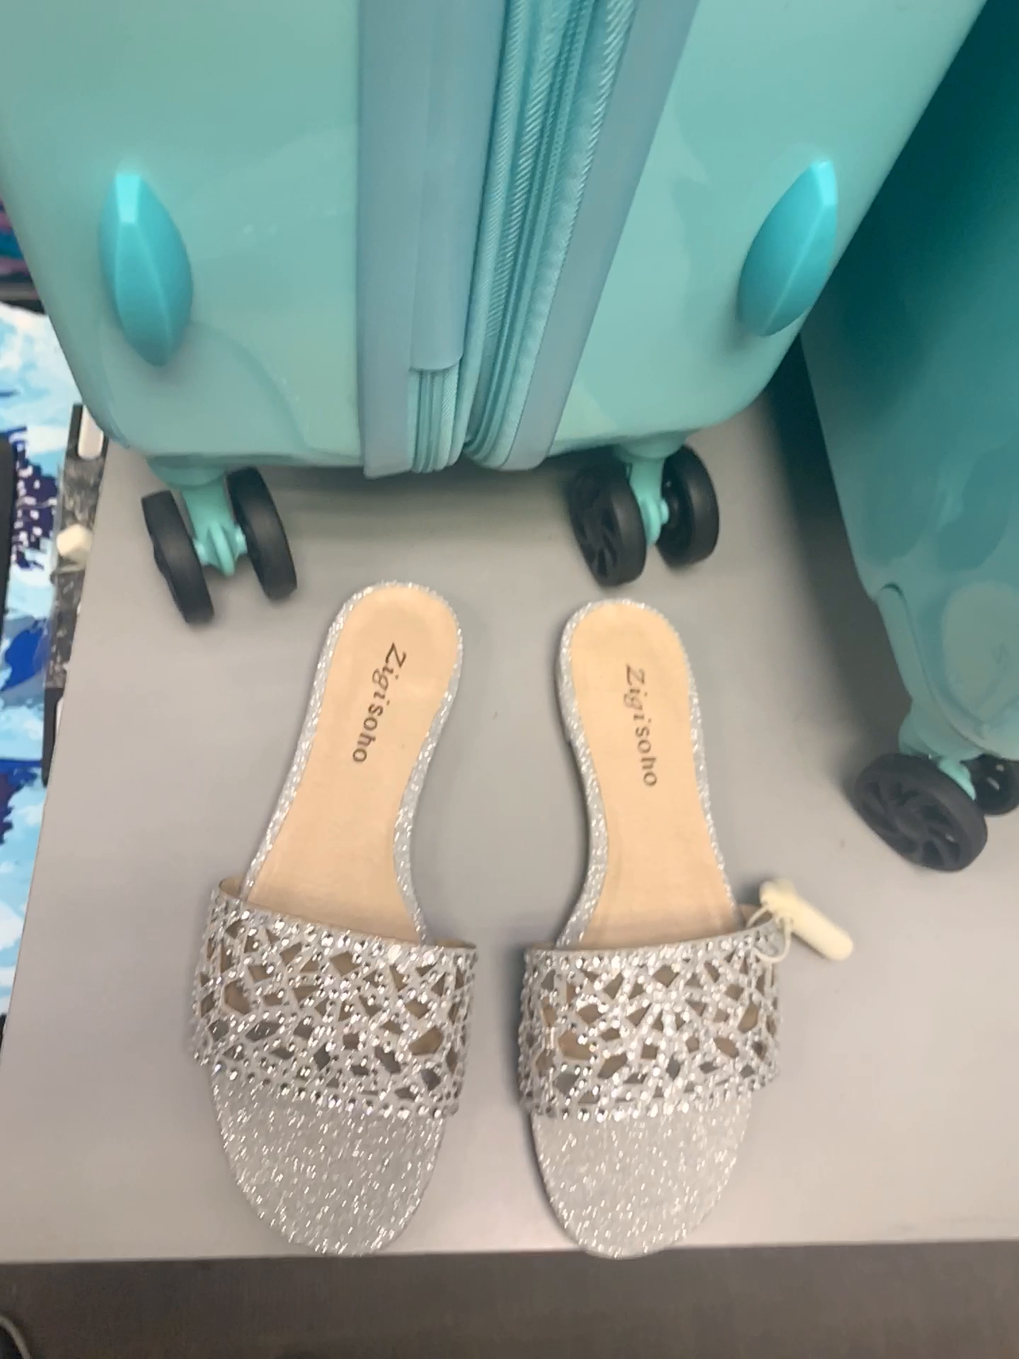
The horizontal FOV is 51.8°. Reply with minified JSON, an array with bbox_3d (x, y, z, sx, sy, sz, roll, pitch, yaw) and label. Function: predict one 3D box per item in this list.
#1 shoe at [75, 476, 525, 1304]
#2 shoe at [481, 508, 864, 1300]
[{"bbox_3d":[-0.056,0.058,0.345,0.100,0.061,0.243,6,66,-5],"label":"shoe"},{"bbox_3d":[0.047,0.066,0.356,0.099,0.061,0.242,4,66,-6],"label":"shoe"}]
